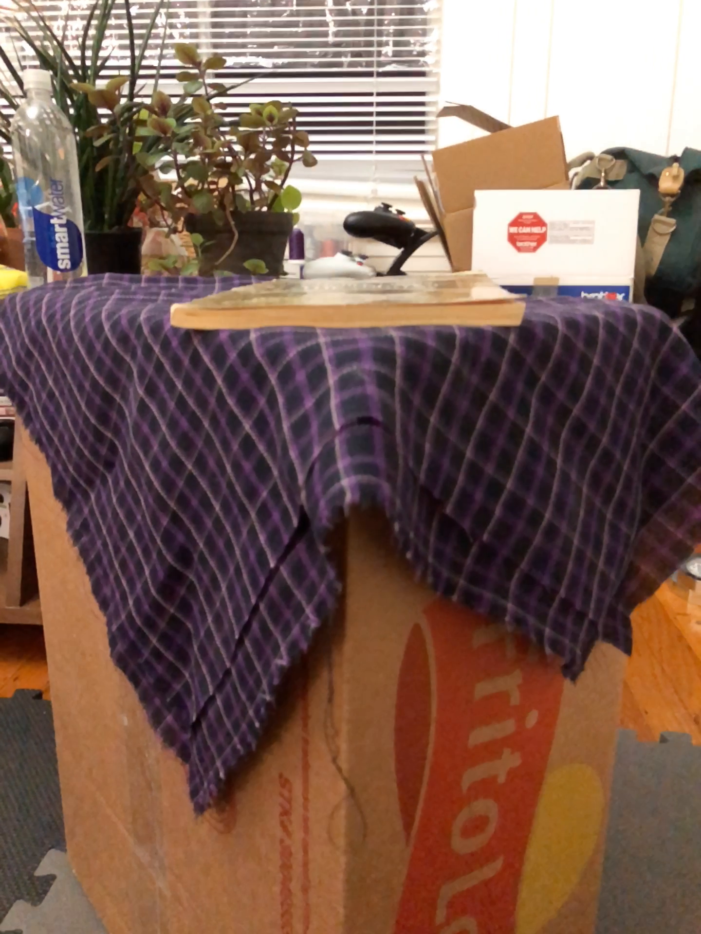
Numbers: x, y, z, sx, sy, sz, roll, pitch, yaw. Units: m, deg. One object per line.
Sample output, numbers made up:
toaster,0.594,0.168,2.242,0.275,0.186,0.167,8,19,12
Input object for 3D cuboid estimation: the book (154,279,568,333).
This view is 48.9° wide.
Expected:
book,0.011,-0.081,0.367,0.140,0.010,0.221,1,16,4
